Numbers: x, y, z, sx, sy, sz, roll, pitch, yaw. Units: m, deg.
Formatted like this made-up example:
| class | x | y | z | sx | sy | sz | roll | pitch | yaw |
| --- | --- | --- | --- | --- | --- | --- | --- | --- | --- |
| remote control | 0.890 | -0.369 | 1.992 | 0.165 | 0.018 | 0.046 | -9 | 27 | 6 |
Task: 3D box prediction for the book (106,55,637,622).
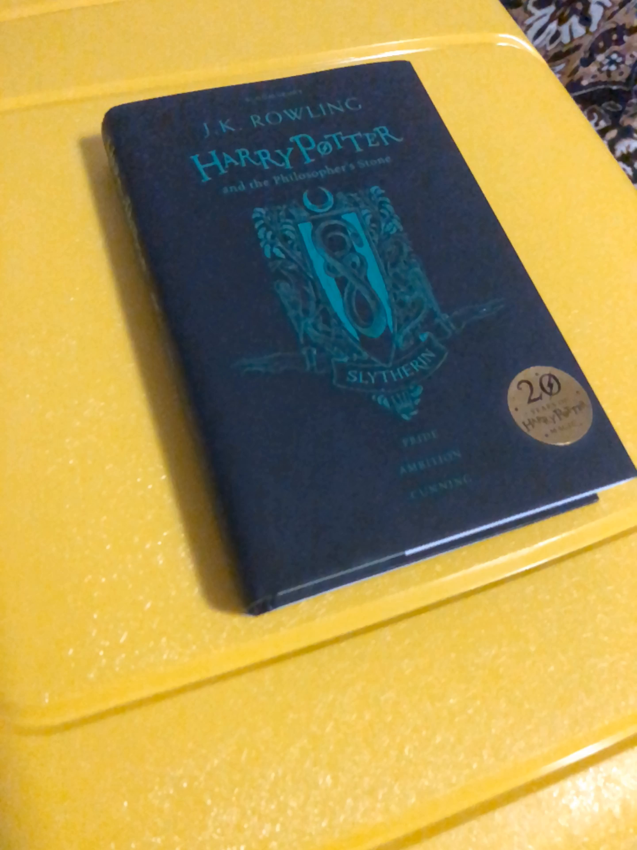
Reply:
| class | x | y | z | sx | sy | sz | roll | pitch | yaw |
| --- | --- | --- | --- | --- | --- | --- | --- | --- | --- |
| book | 0.013 | -0.050 | 0.266 | 0.137 | 0.030 | 0.205 | -15 | 67 | -13 |
